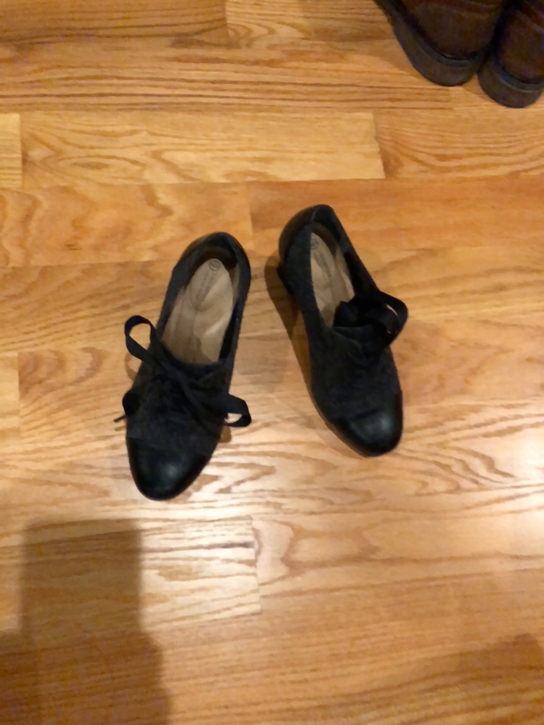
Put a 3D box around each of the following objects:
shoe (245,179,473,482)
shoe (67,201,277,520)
[{"bbox_3d":[0.063,-0.021,0.525,0.088,0.125,0.223,-19,79,-13],"label":"shoe"},{"bbox_3d":[-0.076,0.007,0.495,0.093,0.125,0.223,15,73,-5],"label":"shoe"}]
